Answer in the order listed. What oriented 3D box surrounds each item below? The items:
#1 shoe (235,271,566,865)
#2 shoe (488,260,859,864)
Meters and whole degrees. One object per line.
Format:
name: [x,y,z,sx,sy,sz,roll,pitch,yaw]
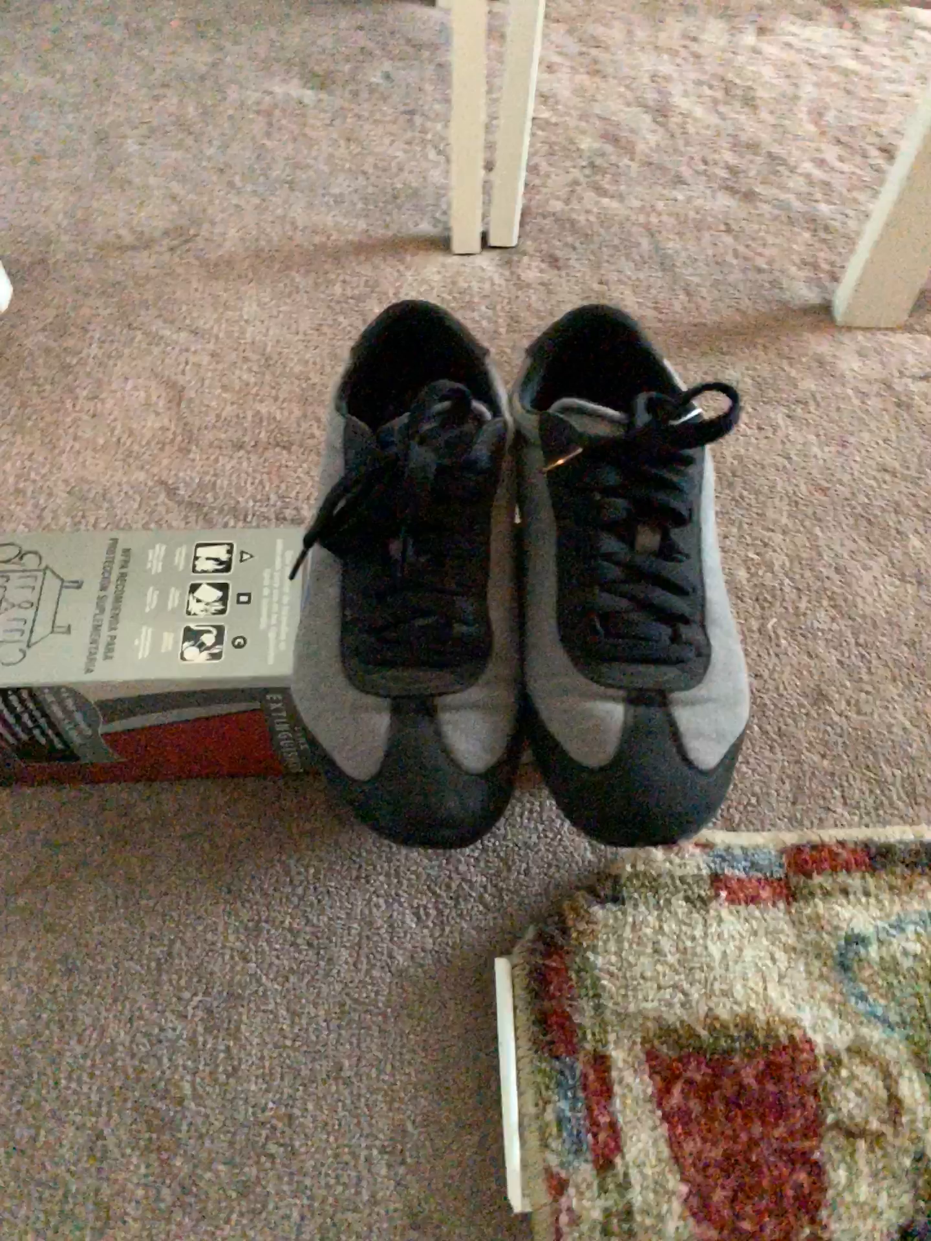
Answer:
shoe: [-0.025,-0.030,0.389,0.100,0.089,0.232,-2,57,-2]
shoe: [0.068,-0.033,0.404,0.100,0.099,0.242,-2,57,-2]
